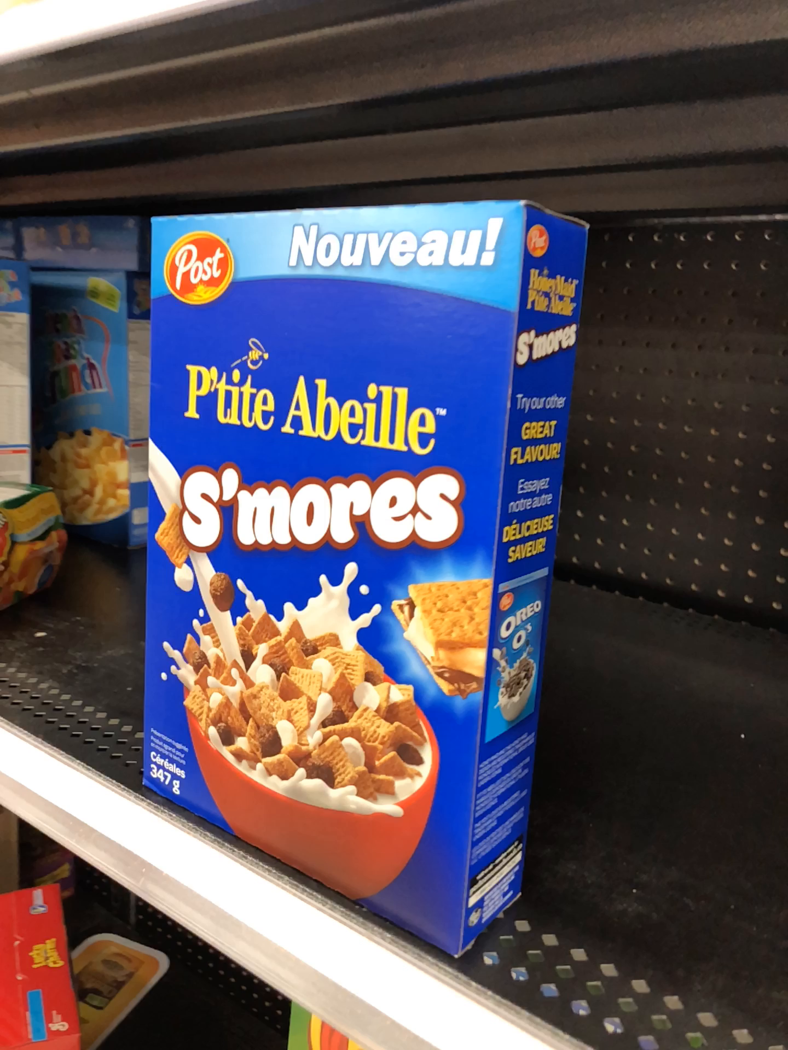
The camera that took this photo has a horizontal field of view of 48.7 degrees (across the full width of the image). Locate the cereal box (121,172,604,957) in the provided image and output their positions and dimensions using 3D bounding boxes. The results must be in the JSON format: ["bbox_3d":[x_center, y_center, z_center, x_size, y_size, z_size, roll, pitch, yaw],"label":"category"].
[{"bbox_3d":[-0.029,0.005,0.381,0.200,0.279,0.060,11,13,34],"label":"cereal box"}]
